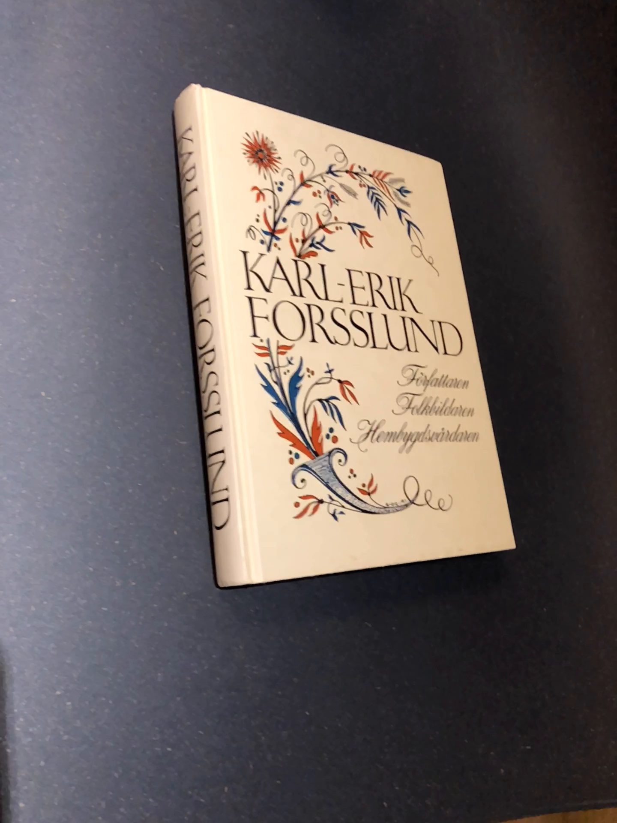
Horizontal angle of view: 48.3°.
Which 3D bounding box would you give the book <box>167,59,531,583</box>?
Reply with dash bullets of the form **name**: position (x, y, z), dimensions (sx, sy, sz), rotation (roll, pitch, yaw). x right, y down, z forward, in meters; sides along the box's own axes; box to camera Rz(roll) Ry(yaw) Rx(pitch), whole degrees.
- **book**: position (0.022, -0.043, 0.342), dimensions (0.164, 0.028, 0.232), rotation (2, 73, -33)
